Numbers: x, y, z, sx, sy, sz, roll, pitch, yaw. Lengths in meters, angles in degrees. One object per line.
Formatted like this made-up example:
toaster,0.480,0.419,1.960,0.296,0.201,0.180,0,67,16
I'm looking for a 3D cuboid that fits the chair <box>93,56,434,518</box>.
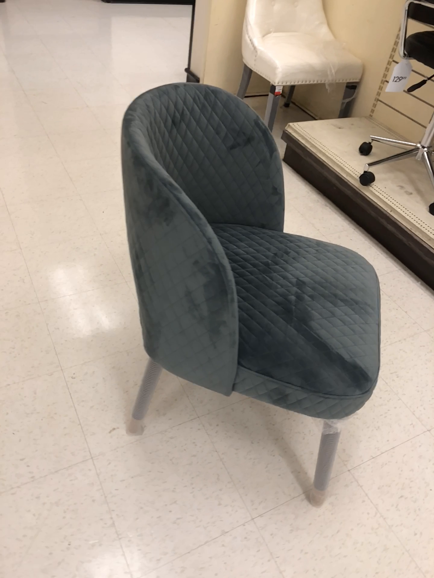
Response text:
chair,0.112,0.020,1.155,0.580,0.857,0.533,16,42,7
